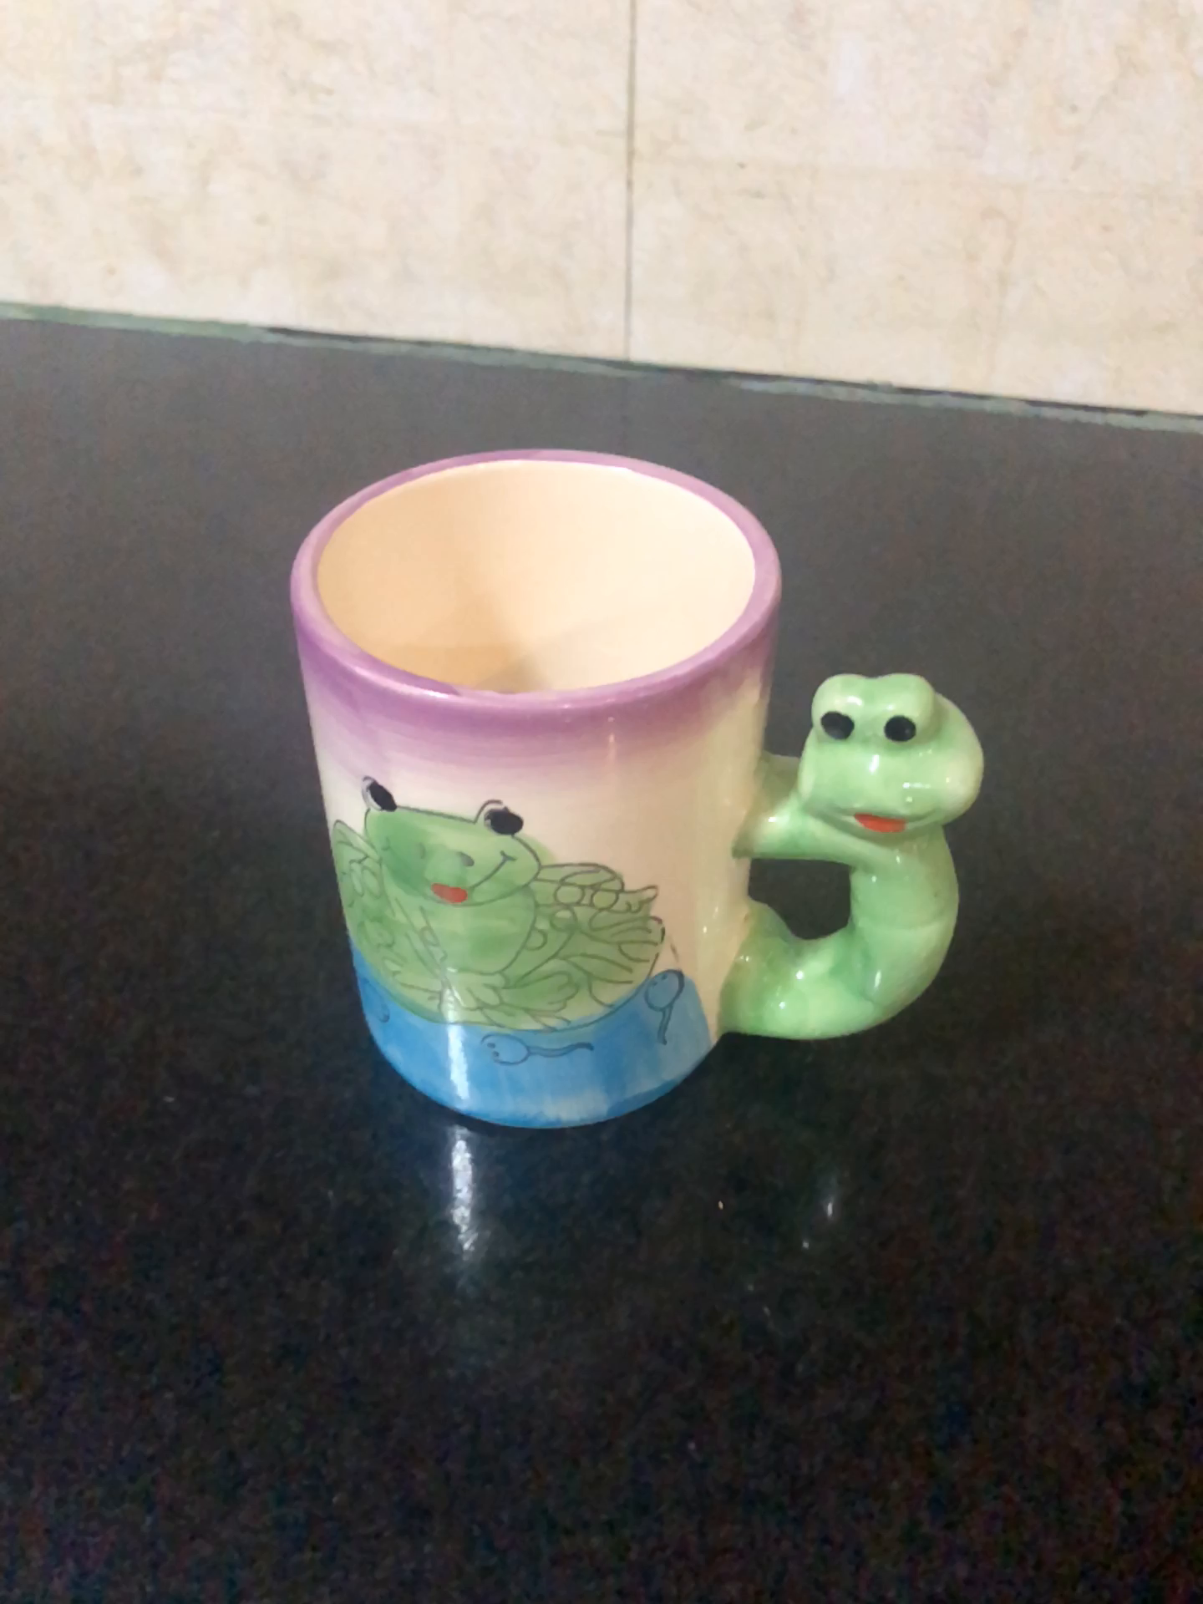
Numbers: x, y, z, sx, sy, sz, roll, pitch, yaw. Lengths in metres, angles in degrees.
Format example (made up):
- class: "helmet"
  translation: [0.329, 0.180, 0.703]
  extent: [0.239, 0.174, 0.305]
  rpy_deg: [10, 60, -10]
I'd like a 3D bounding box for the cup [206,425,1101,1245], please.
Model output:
- class: "cup"
  translation: [0.008, 0.006, 0.231]
  extent: [0.110, 0.109, 0.081]
  rpy_deg: [3, 40, 3]
